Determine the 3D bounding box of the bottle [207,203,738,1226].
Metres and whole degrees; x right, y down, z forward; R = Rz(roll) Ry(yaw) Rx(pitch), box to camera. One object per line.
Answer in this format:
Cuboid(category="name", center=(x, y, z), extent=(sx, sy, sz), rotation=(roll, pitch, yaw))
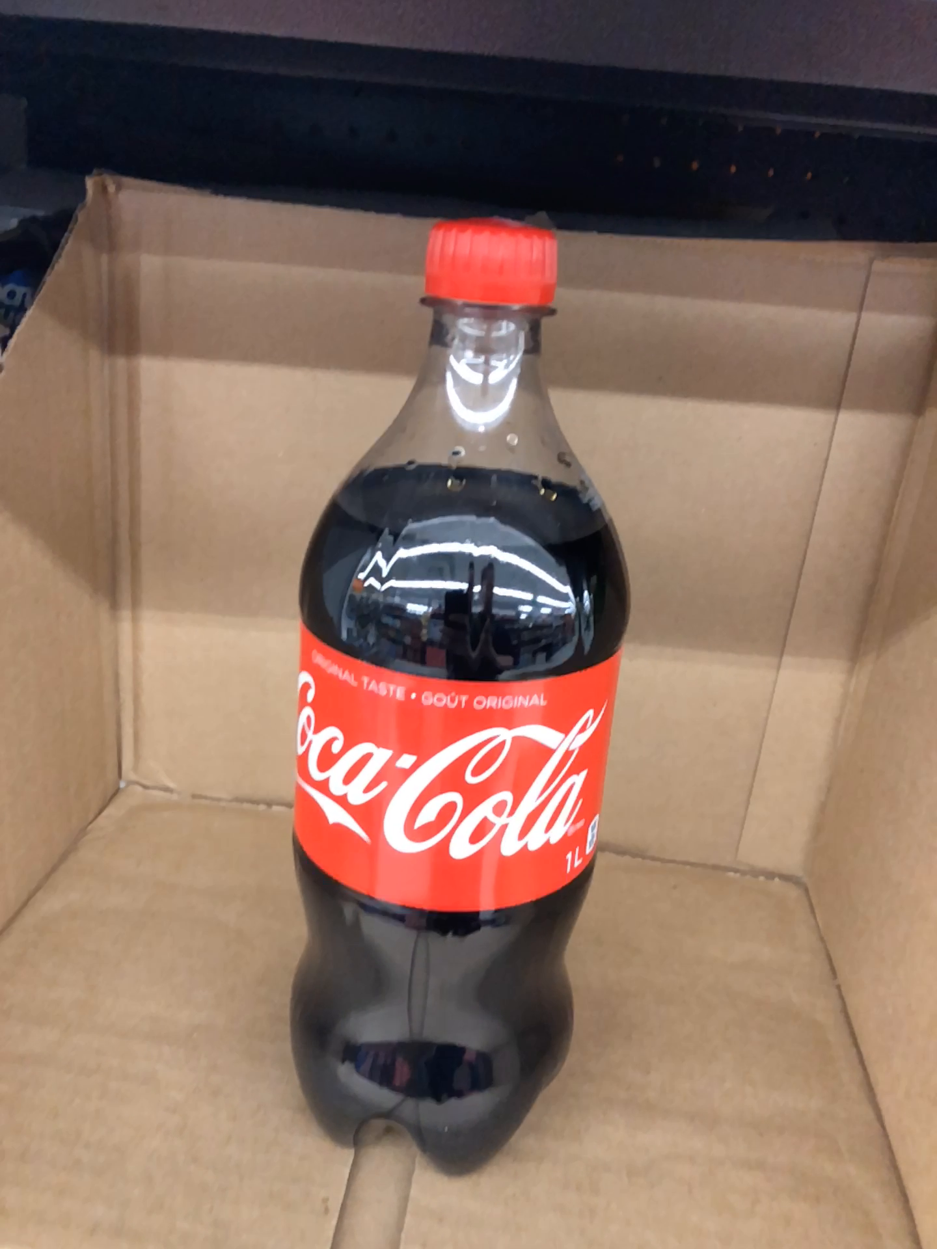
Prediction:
Cuboid(category="bottle", center=(-0.002, 0.024, 0.284), extent=(0.100, 0.248, 0.091), rotation=(11, 24, 13))
